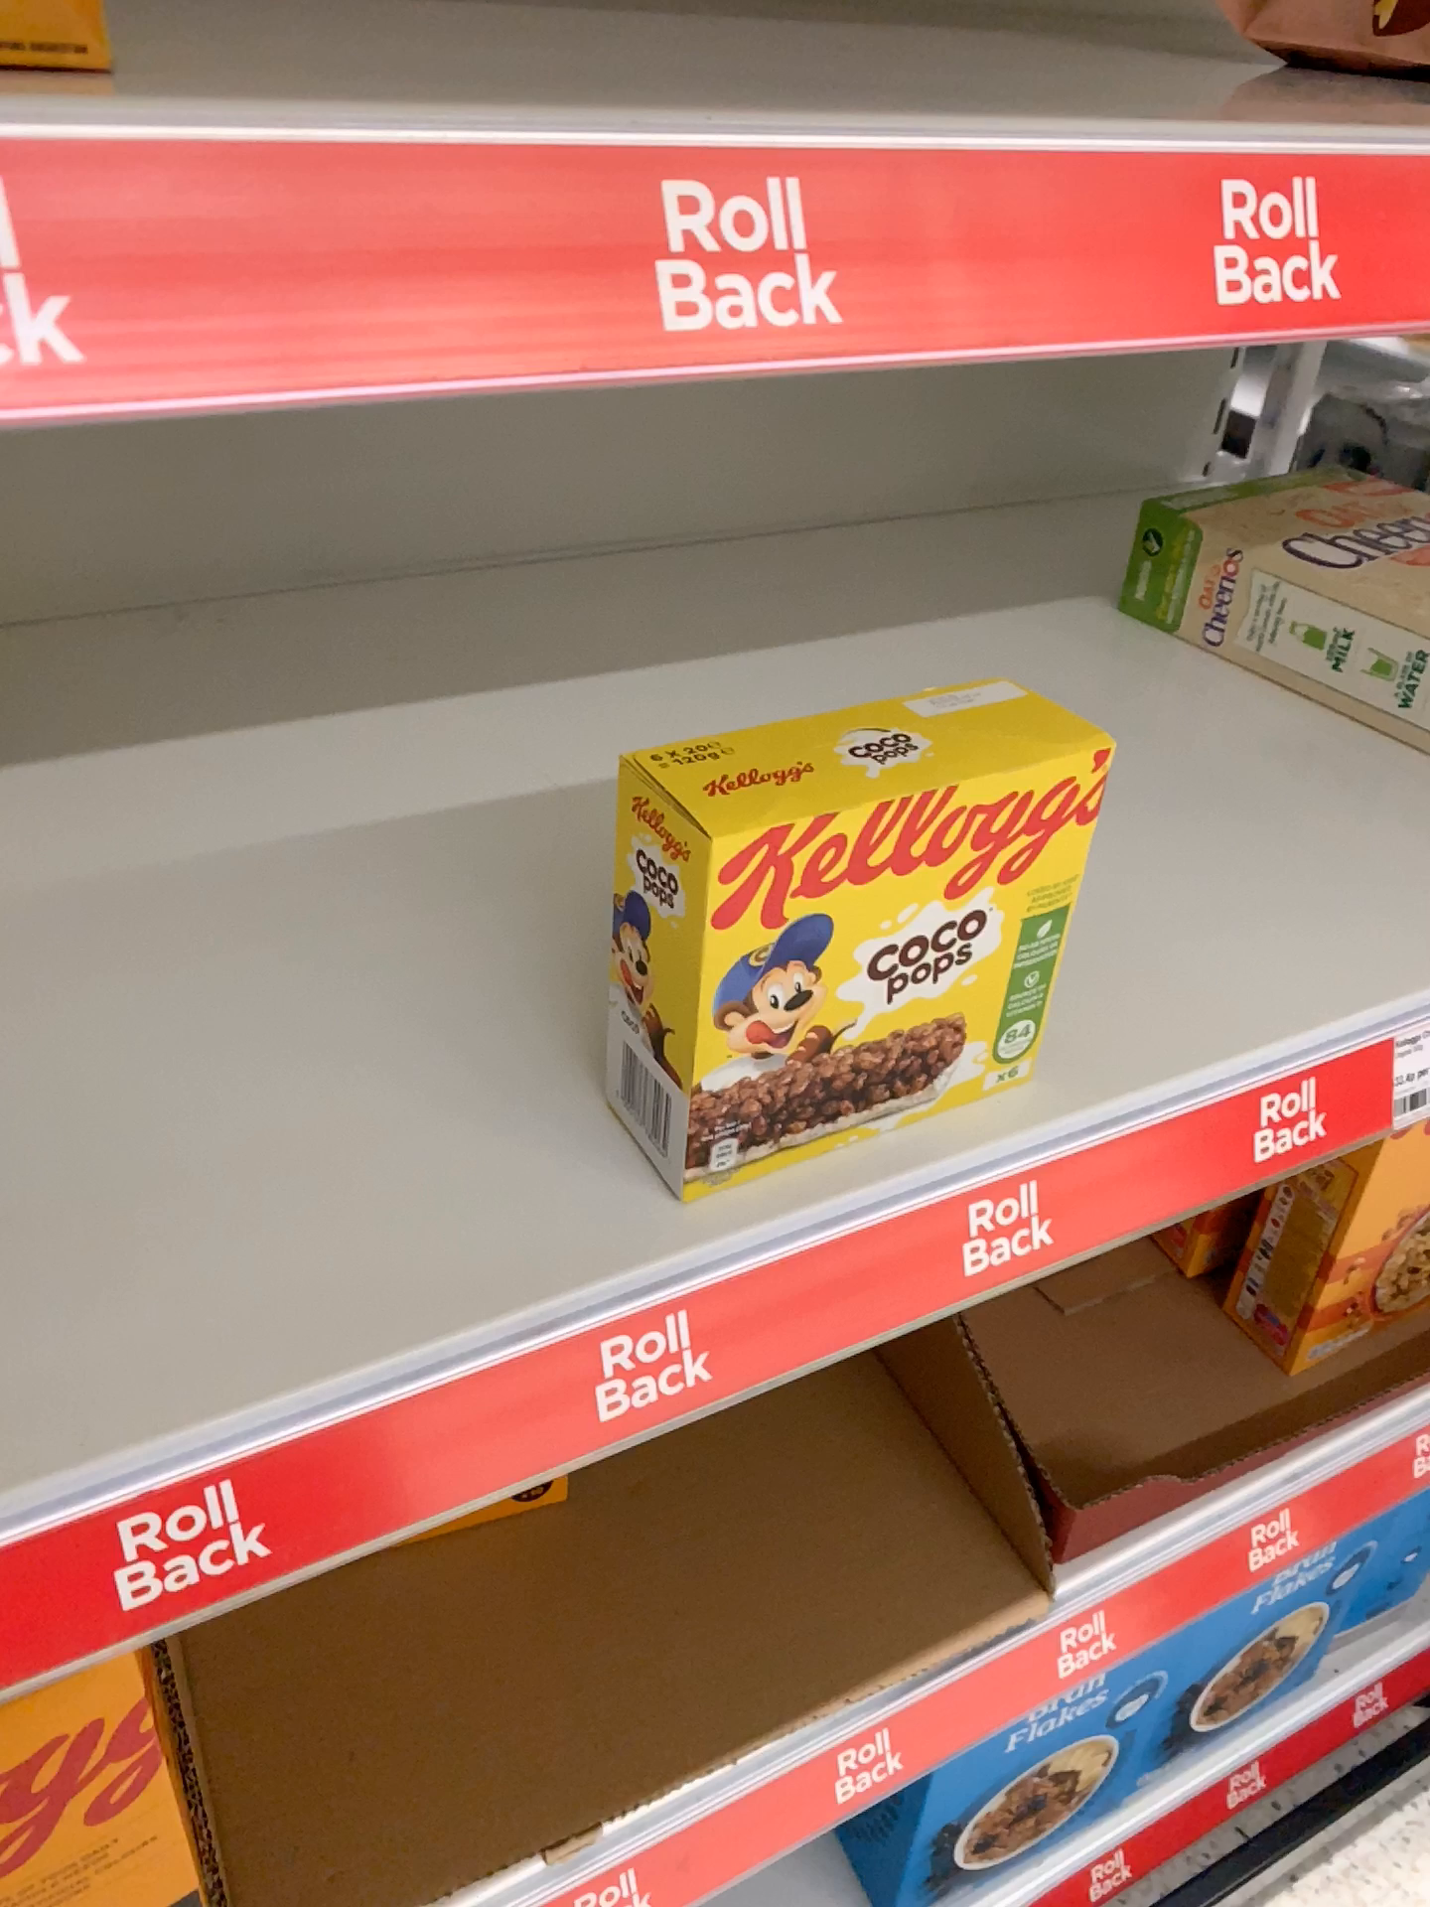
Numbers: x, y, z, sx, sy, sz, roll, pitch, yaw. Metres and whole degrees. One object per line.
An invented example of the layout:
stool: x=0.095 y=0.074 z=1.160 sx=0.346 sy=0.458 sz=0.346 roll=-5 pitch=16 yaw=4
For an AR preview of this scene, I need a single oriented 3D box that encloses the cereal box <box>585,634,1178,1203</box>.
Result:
cereal box: x=0.045 y=-0.015 z=0.427 sx=0.151 sy=0.119 sz=0.060 roll=-16 pitch=40 yaw=-28
